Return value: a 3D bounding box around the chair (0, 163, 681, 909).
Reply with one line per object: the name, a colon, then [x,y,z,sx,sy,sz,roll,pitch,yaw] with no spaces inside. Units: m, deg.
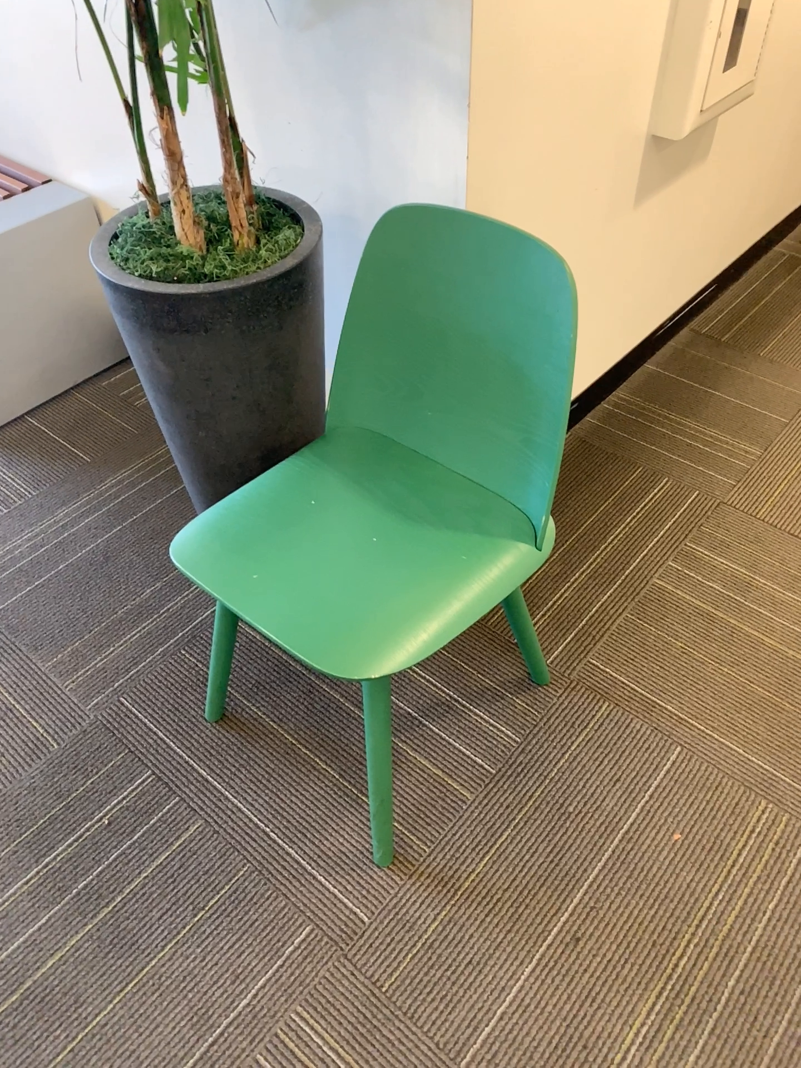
chair: [-0.046,-0.003,1.185,0.502,0.746,0.601,31,54,28]
